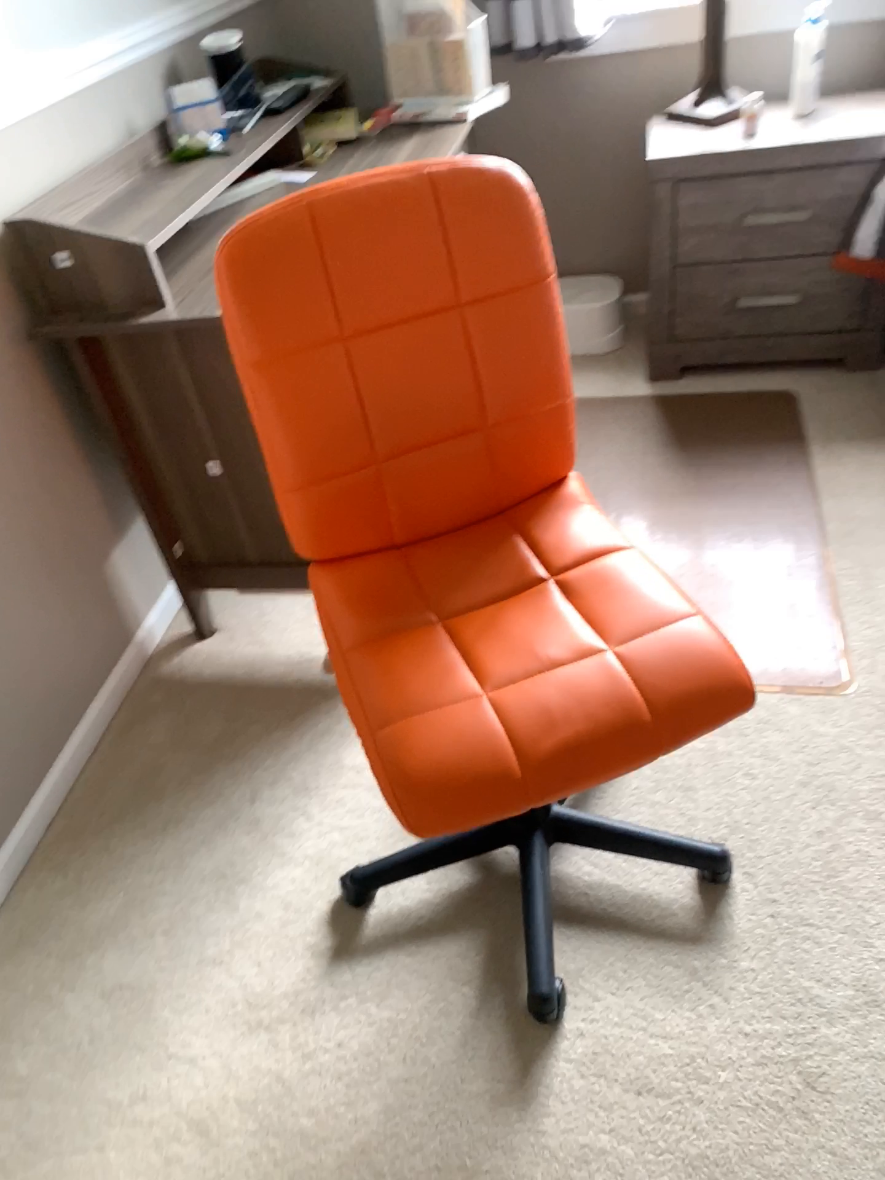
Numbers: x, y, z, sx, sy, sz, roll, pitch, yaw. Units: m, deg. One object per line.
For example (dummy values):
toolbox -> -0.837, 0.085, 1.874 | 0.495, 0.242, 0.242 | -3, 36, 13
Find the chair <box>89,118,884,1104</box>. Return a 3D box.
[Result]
chair -> 0.054, 0.017, 1.134 | 0.614, 0.901, 0.621 | -20, 40, -12
